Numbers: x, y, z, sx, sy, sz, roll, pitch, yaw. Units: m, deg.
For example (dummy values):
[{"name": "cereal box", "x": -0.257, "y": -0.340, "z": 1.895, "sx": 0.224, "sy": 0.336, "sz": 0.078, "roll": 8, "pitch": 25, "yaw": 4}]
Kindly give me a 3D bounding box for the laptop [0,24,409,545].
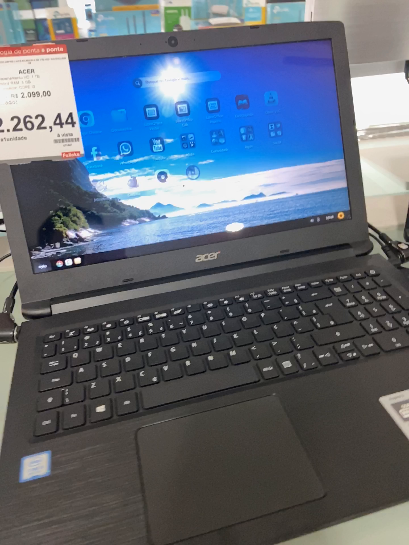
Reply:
[{"name": "laptop", "x": 0.020, "y": -0.051, "z": 0.337, "sx": 0.389, "sy": 0.226, "sz": 0.376, "roll": -10, "pitch": 33, "yaw": -10}]
